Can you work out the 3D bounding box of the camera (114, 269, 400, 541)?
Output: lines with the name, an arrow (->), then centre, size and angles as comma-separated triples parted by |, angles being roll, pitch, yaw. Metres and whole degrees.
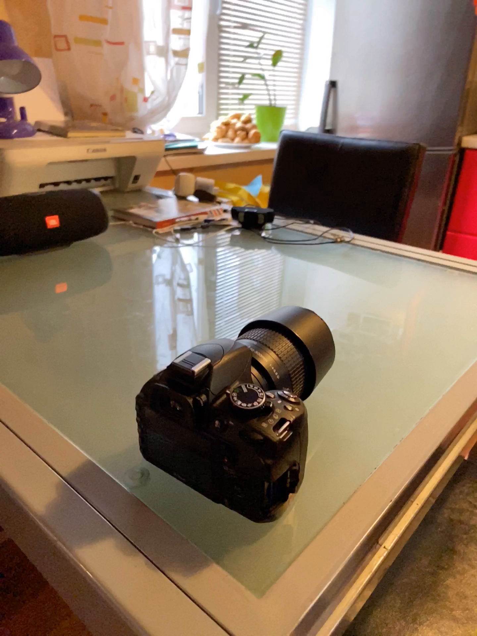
camera -> 0.026, 0.047, 0.411 | 0.134, 0.099, 0.209 | 19, 29, 31
